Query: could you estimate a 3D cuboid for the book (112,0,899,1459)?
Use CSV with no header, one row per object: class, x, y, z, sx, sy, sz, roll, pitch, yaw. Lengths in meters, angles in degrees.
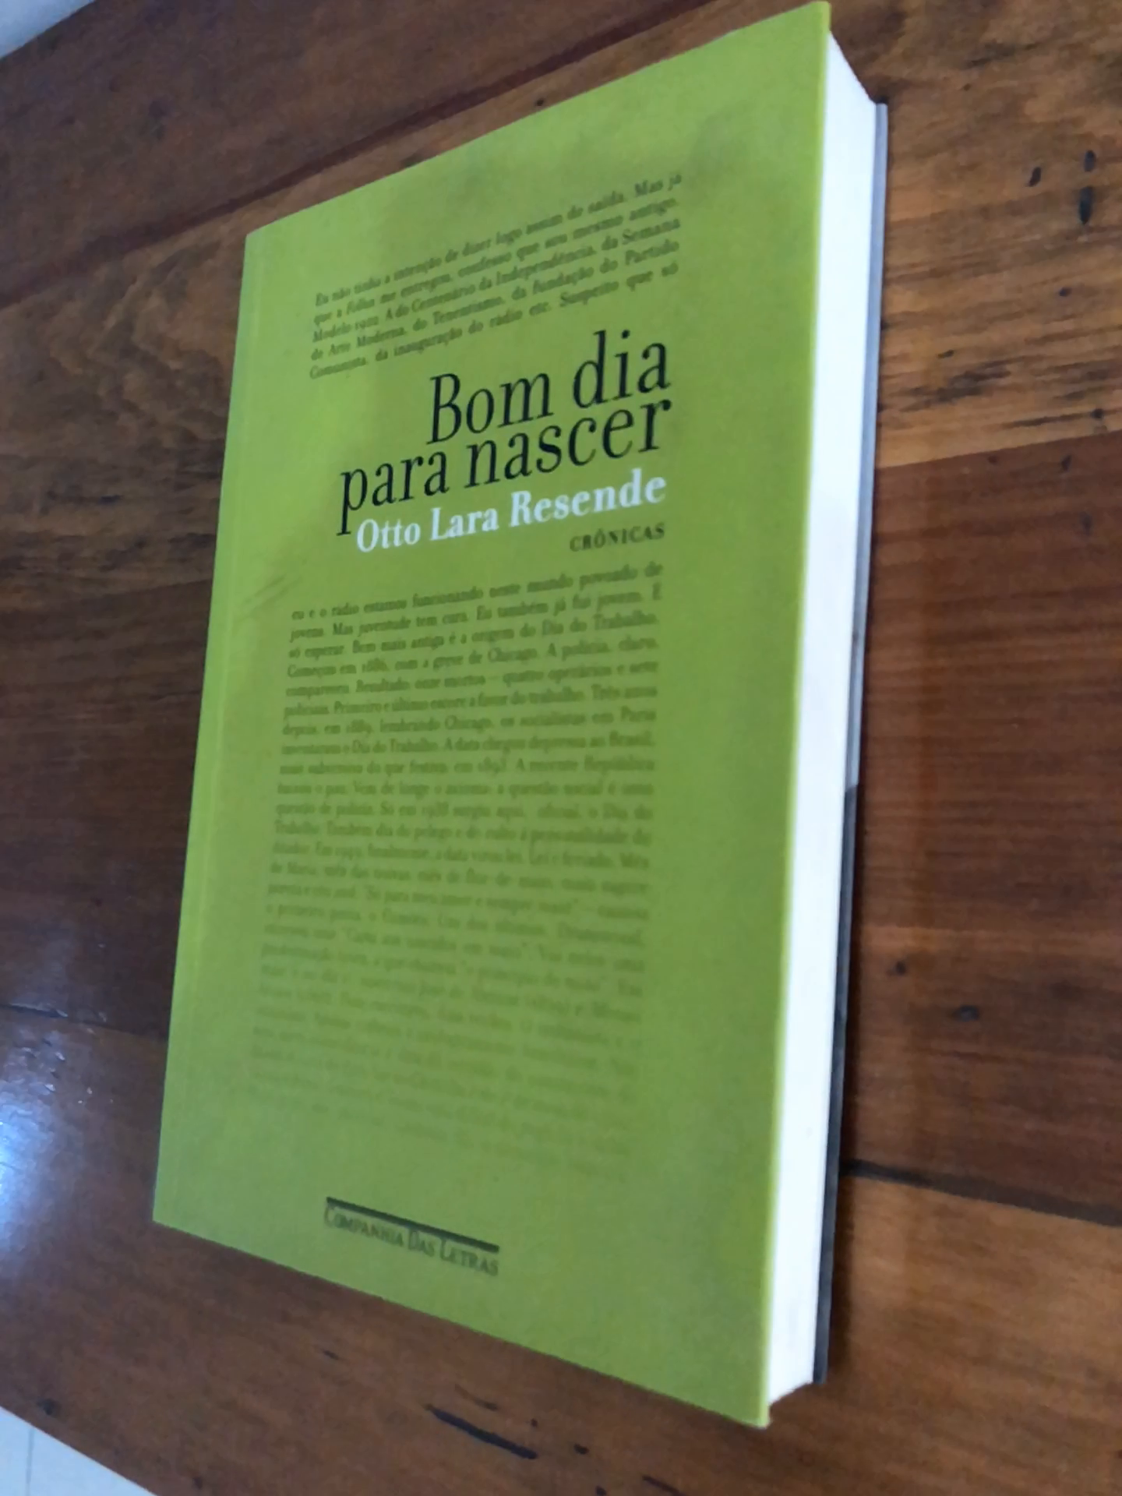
book,-0.015,-0.010,0.223,0.136,0.030,0.208,-1,81,36
